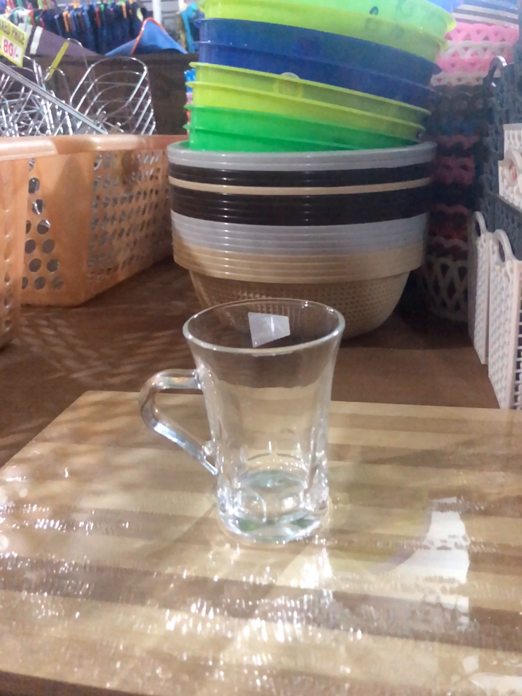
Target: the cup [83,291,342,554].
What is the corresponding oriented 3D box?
[{"bbox_3d":[-0.013,0.029,0.242,0.090,0.090,0.060,-1,21,5],"label":"cup"}]
